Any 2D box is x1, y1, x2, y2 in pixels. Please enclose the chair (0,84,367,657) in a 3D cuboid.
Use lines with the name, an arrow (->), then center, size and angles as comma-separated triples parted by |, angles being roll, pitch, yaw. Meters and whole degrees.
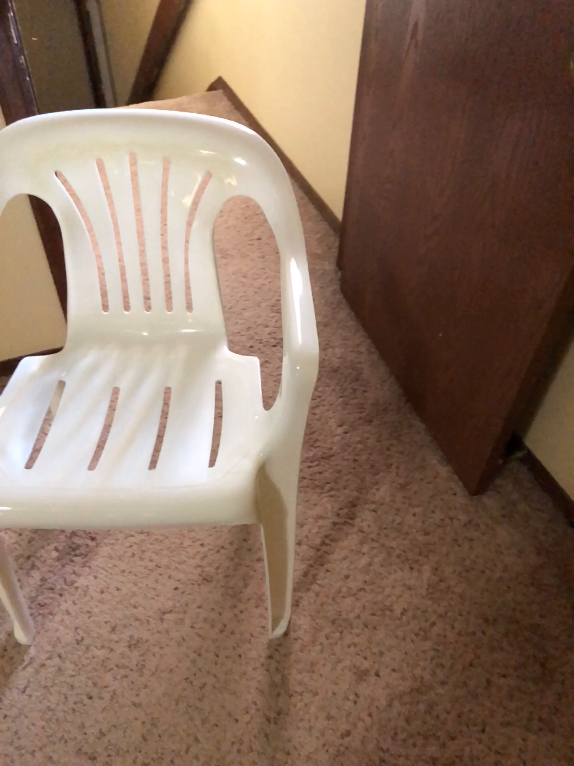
chair -> -0.240, 0.034, 0.976 | 0.580, 0.769, 0.471 | 0, 47, -3
